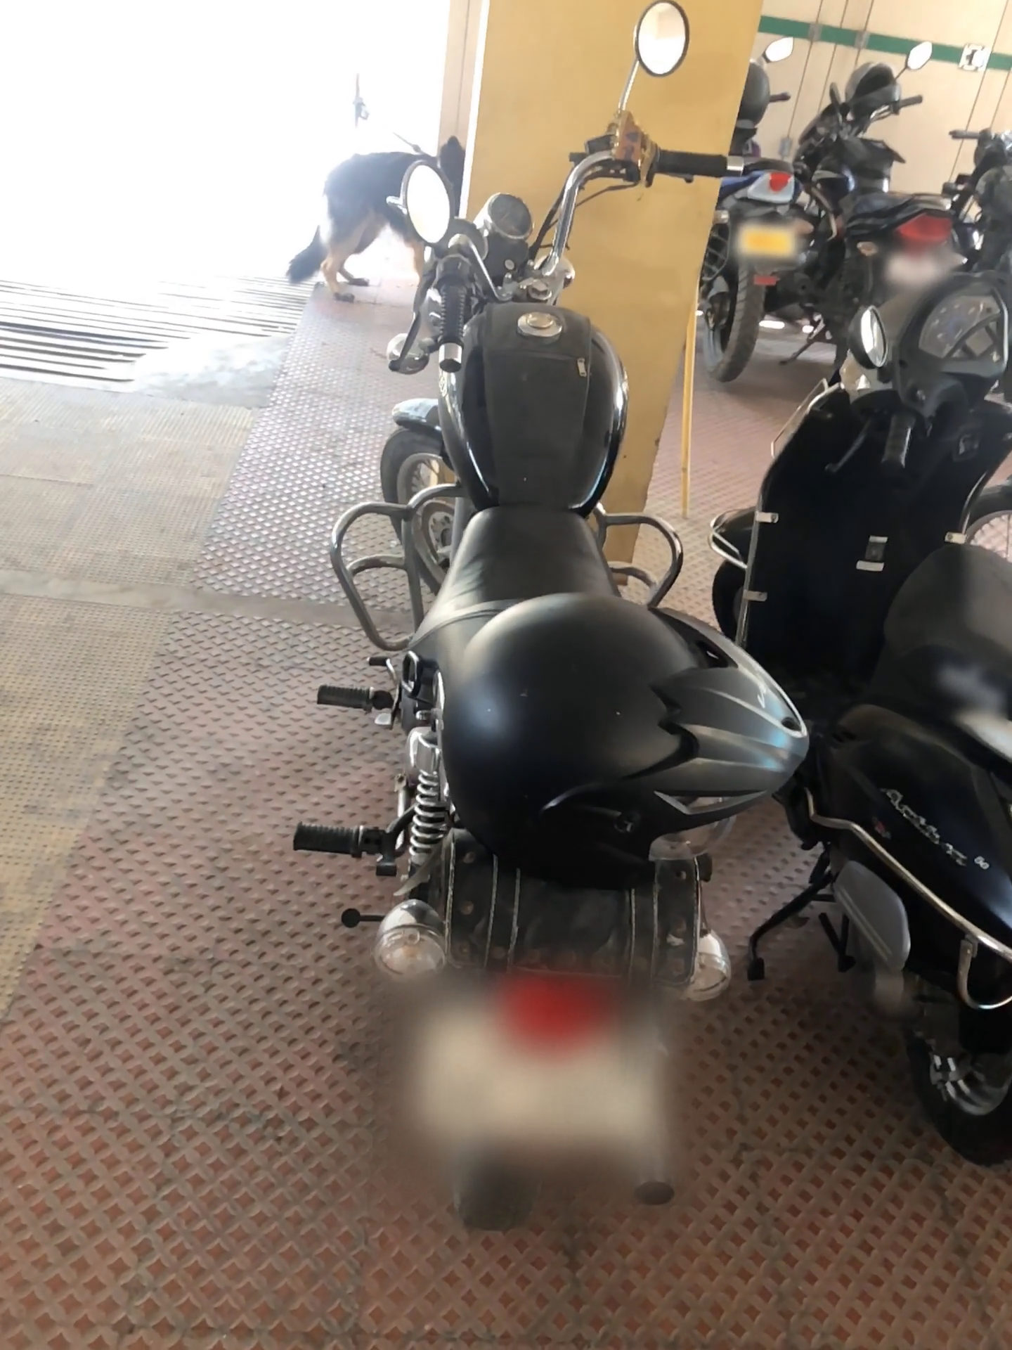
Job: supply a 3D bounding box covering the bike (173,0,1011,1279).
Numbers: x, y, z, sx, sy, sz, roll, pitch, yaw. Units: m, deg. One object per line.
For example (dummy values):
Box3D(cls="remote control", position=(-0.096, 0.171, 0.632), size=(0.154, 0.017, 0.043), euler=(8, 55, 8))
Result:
Box3D(cls="bike", position=(-0.078, -0.250, 1.850), size=(0.783, 1.177, 1.819), euler=(1, 37, -12))
